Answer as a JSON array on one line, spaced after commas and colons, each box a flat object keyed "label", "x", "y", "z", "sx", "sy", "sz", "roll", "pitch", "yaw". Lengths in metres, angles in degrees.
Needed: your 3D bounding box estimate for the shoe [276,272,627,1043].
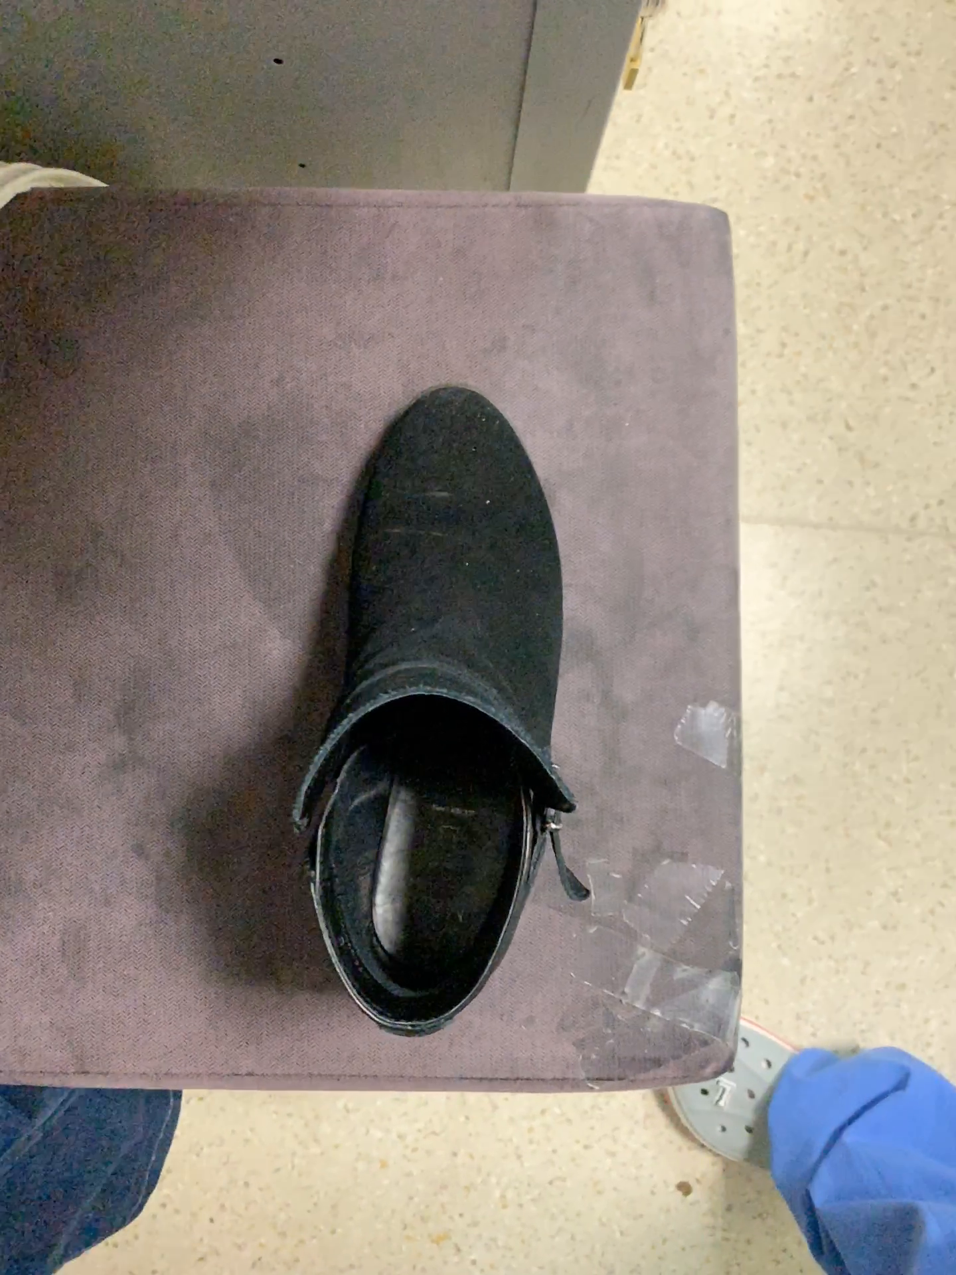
[{"label": "shoe", "x": -0.009, "y": 0.008, "z": 0.372, "sx": 0.100, "sy": 0.138, "sz": 0.235, "roll": 2, "pitch": 85, "yaw": -2}]
